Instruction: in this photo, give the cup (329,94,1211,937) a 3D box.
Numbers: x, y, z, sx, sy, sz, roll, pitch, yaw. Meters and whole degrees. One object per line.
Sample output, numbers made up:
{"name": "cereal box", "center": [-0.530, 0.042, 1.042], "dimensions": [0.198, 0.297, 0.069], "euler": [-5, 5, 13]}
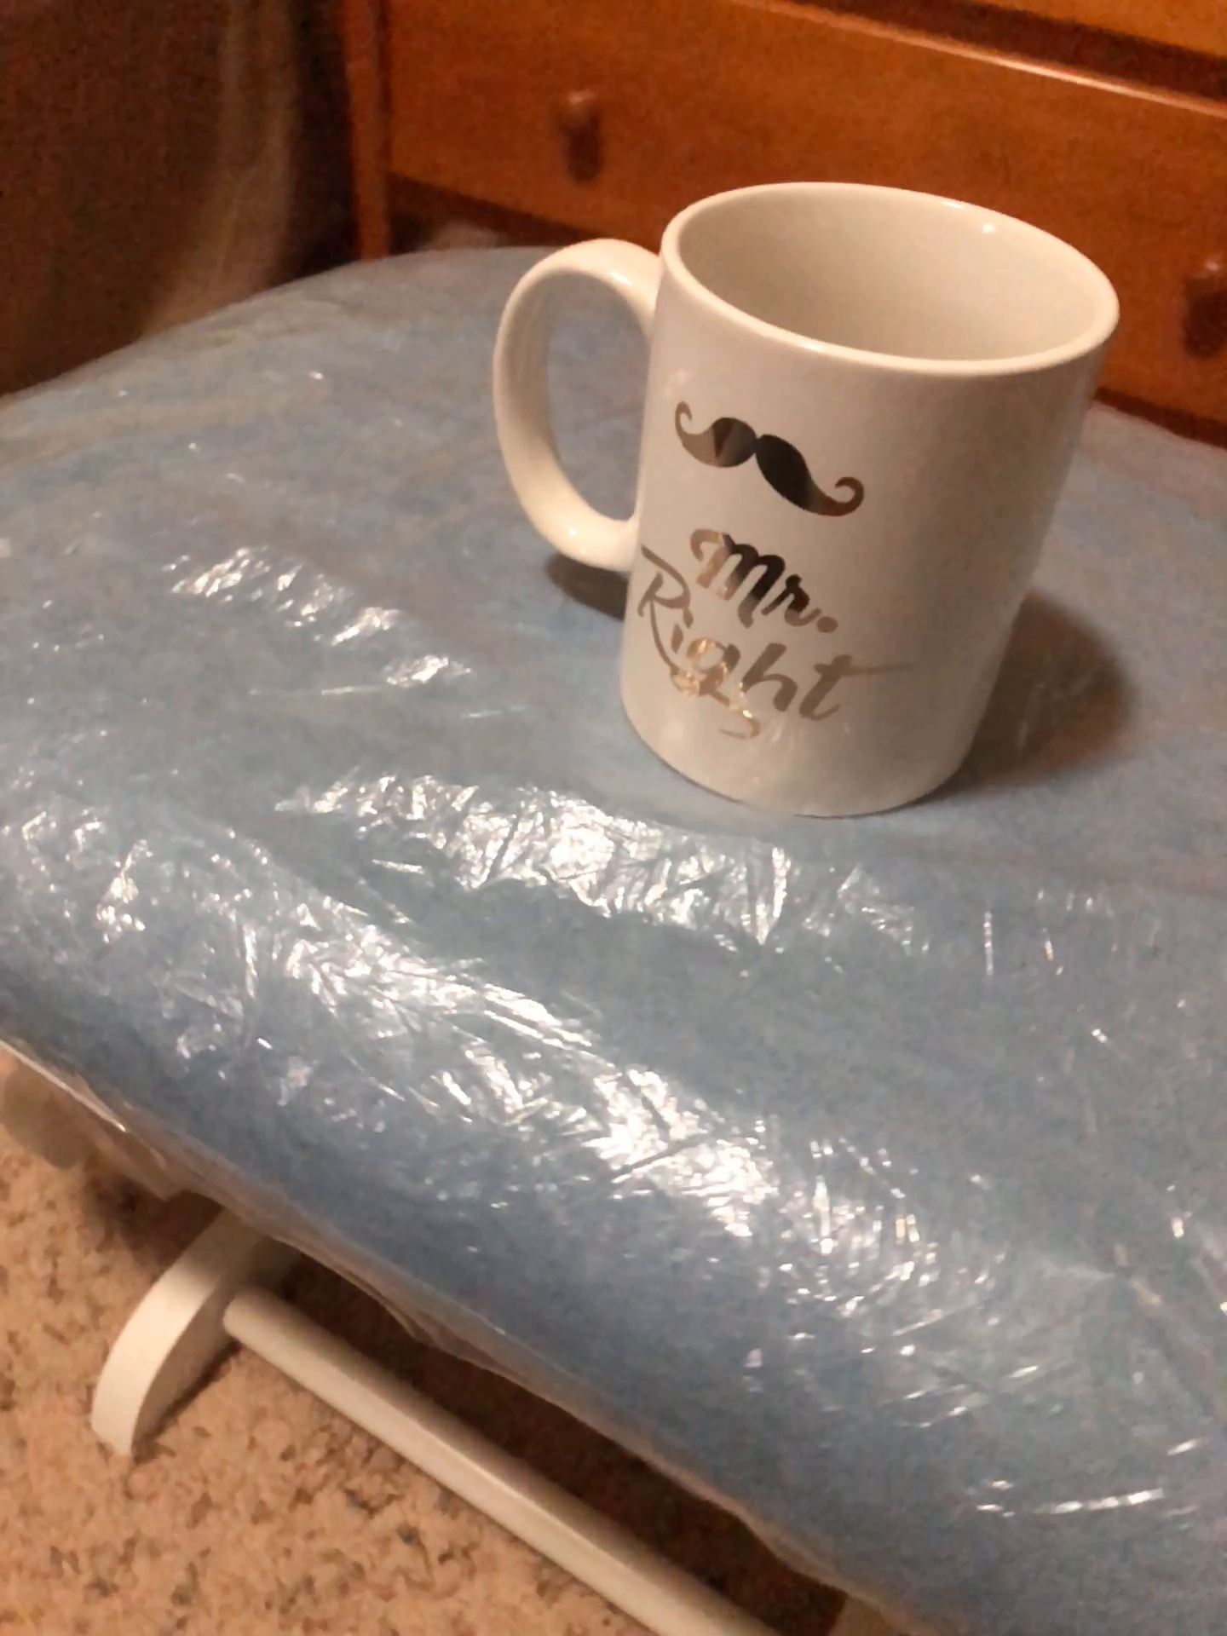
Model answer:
{"name": "cup", "center": [0.027, -0.073, 0.299], "dimensions": [0.140, 0.110, 0.100], "euler": [28, 46, 22]}
